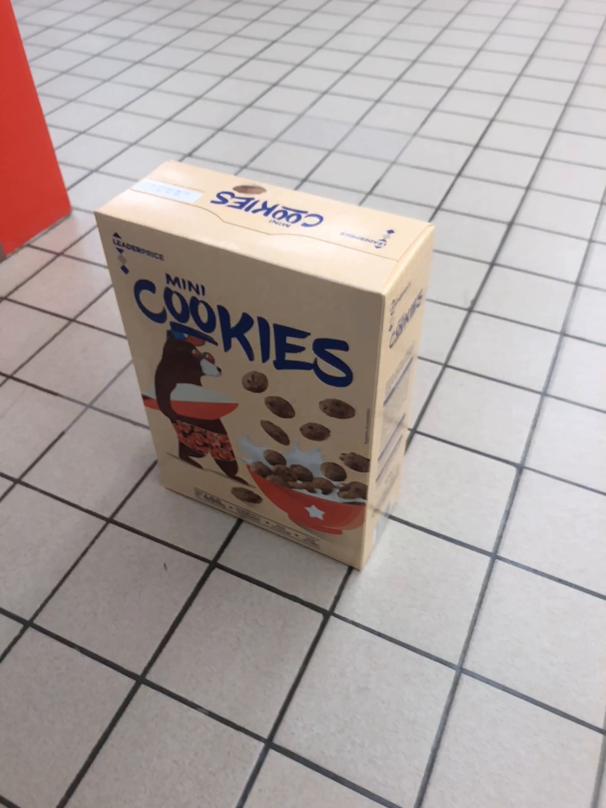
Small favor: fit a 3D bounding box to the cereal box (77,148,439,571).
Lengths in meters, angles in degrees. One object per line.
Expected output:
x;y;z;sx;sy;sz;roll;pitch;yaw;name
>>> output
-0.025;-0.020;0.496;0.200;0.278;0.080;18;49;19;cereal box
